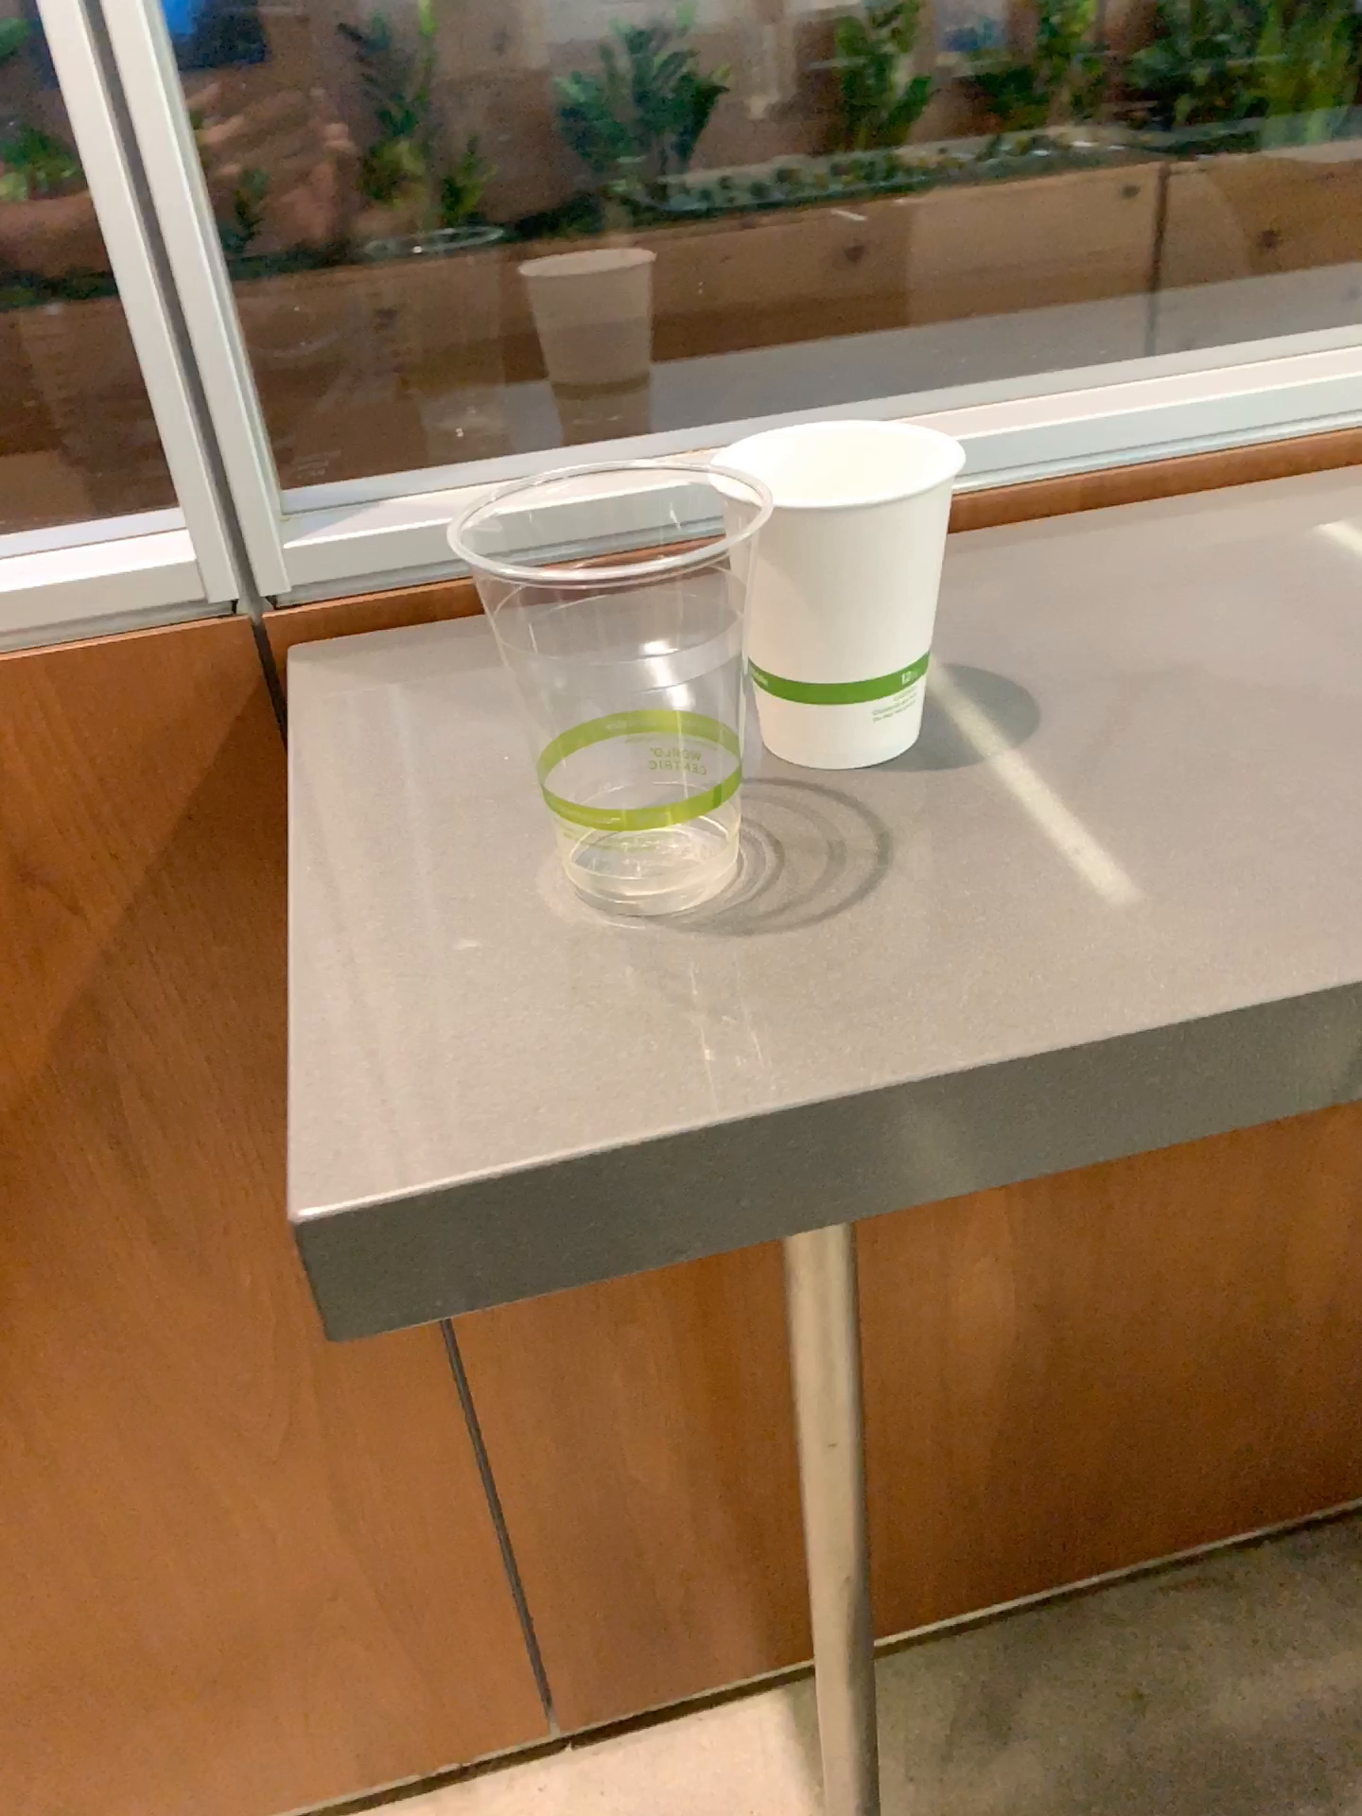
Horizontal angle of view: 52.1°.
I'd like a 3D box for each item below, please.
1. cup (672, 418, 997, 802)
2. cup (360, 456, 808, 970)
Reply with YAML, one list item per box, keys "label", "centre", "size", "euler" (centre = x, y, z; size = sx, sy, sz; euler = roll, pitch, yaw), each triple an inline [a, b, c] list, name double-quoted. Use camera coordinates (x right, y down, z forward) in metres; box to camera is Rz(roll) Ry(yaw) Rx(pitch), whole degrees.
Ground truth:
- label: "cup"
  centre: [0.060, -0.113, 0.515]
  size: [0.090, 0.109, 0.080]
  euler: [11, 37, 24]
- label: "cup"
  centre: [-0.024, -0.065, 0.438]
  size: [0.090, 0.119, 0.090]
  euler: [-4, 33, 3]
